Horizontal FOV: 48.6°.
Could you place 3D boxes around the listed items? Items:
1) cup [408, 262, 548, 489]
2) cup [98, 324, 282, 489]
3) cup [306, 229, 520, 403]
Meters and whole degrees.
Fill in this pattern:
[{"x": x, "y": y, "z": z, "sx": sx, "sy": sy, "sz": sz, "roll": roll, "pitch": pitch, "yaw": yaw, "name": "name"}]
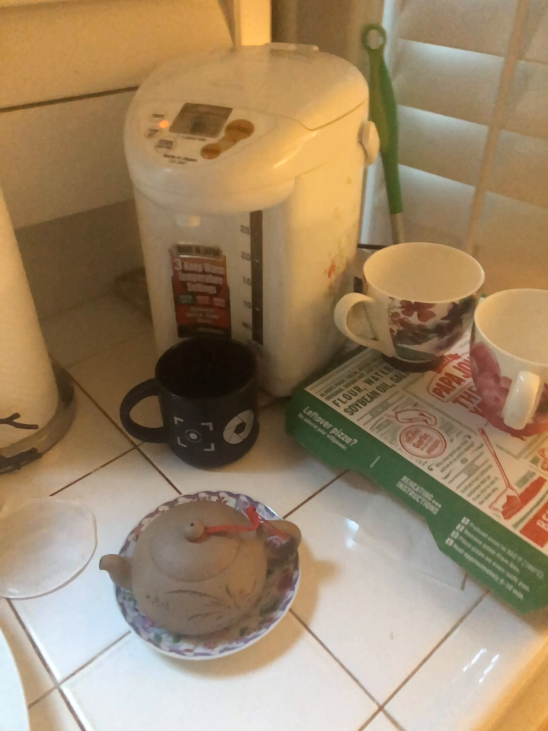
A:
[{"x": 0.199, "y": -0.001, "z": 0.485, "sx": 0.100, "sy": 0.079, "sz": 0.161, "roll": 30, "pitch": 48, "yaw": 31, "name": "cup"}, {"x": -0.074, "y": 0.033, "z": 0.543, "sx": 0.140, "sy": 0.079, "sz": 0.091, "roll": -12, "pitch": 41, "yaw": -14, "name": "cup"}, {"x": 0.126, "y": -0.052, "z": 0.568, "sx": 0.161, "sy": 0.079, "sz": 0.100, "roll": -21, "pitch": 44, "yaw": -25, "name": "cup"}]
